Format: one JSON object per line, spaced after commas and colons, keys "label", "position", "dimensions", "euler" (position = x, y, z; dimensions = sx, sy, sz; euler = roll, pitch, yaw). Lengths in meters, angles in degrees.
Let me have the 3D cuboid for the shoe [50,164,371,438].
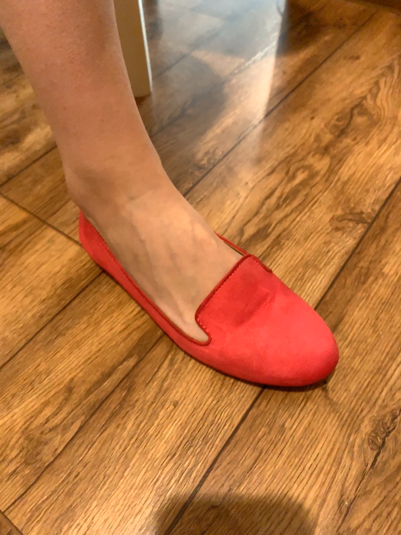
{"label": "shoe", "position": [-0.002, 0.012, 0.316], "dimensions": [0.220, 0.060, 0.086], "euler": [34, 62, 25]}
